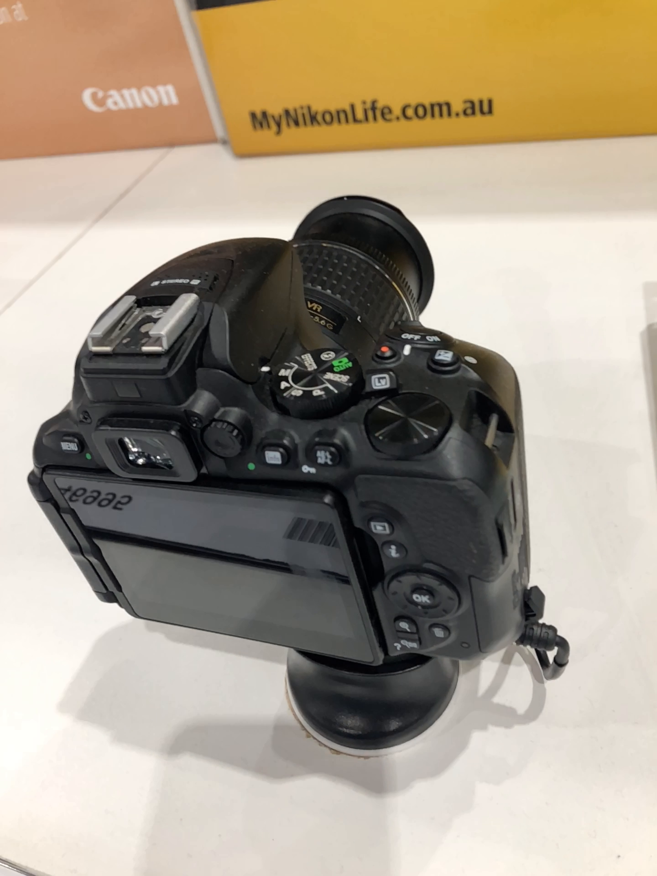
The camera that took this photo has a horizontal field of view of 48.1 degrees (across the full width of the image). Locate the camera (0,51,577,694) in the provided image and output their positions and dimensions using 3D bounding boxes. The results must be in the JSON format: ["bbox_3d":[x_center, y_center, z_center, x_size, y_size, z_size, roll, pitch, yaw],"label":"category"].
[{"bbox_3d":[0.001,-0.033,0.228,0.127,0.097,0.163,5,46,22],"label":"camera"}]
